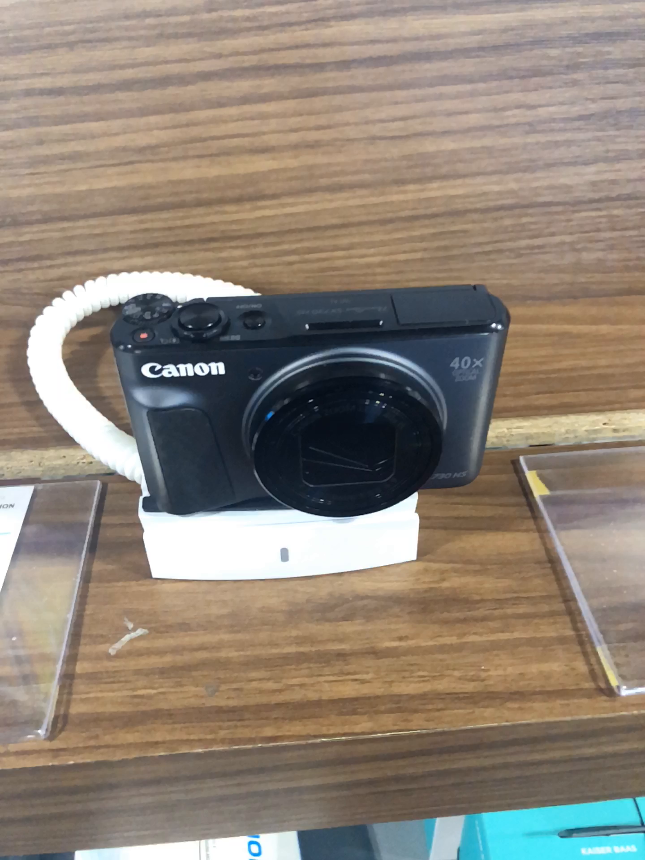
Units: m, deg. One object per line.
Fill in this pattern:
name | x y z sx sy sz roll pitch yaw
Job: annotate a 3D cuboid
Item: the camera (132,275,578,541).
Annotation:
camera | 0.008 -0.005 0.209 0.109 0.063 0.037 -3 42 -3
